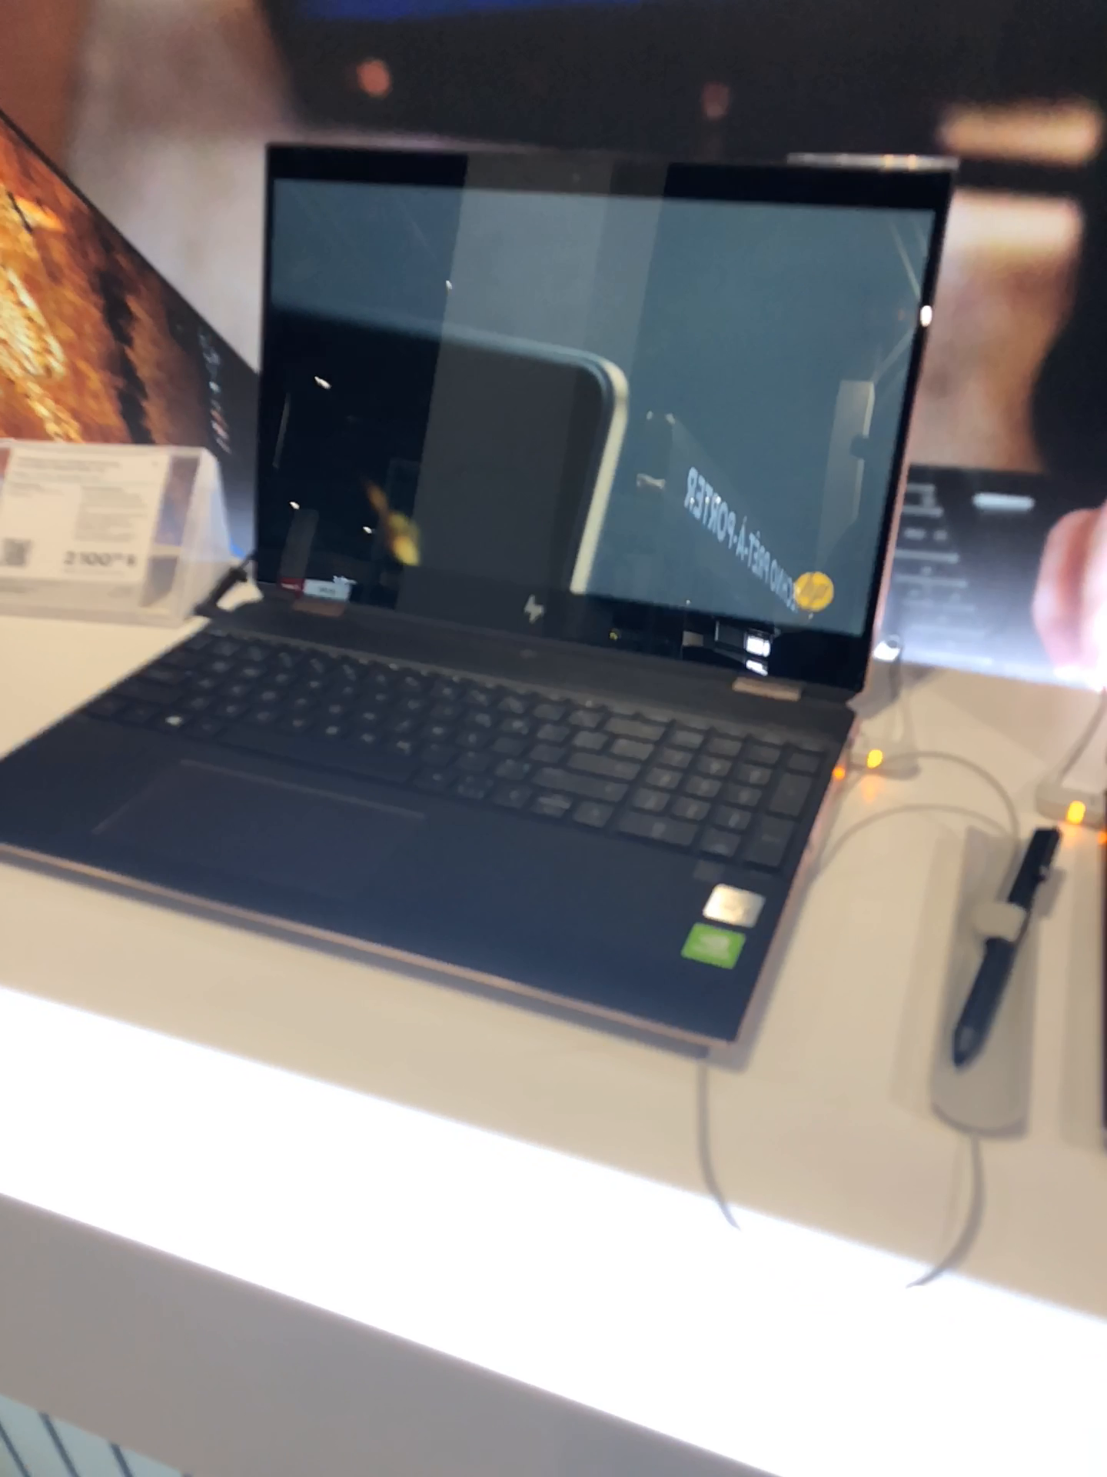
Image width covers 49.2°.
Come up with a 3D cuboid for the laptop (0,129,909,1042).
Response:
[{"bbox_3d":[-0.054,-0.110,0.500,0.333,0.226,0.323,11,31,16],"label":"laptop"}]
